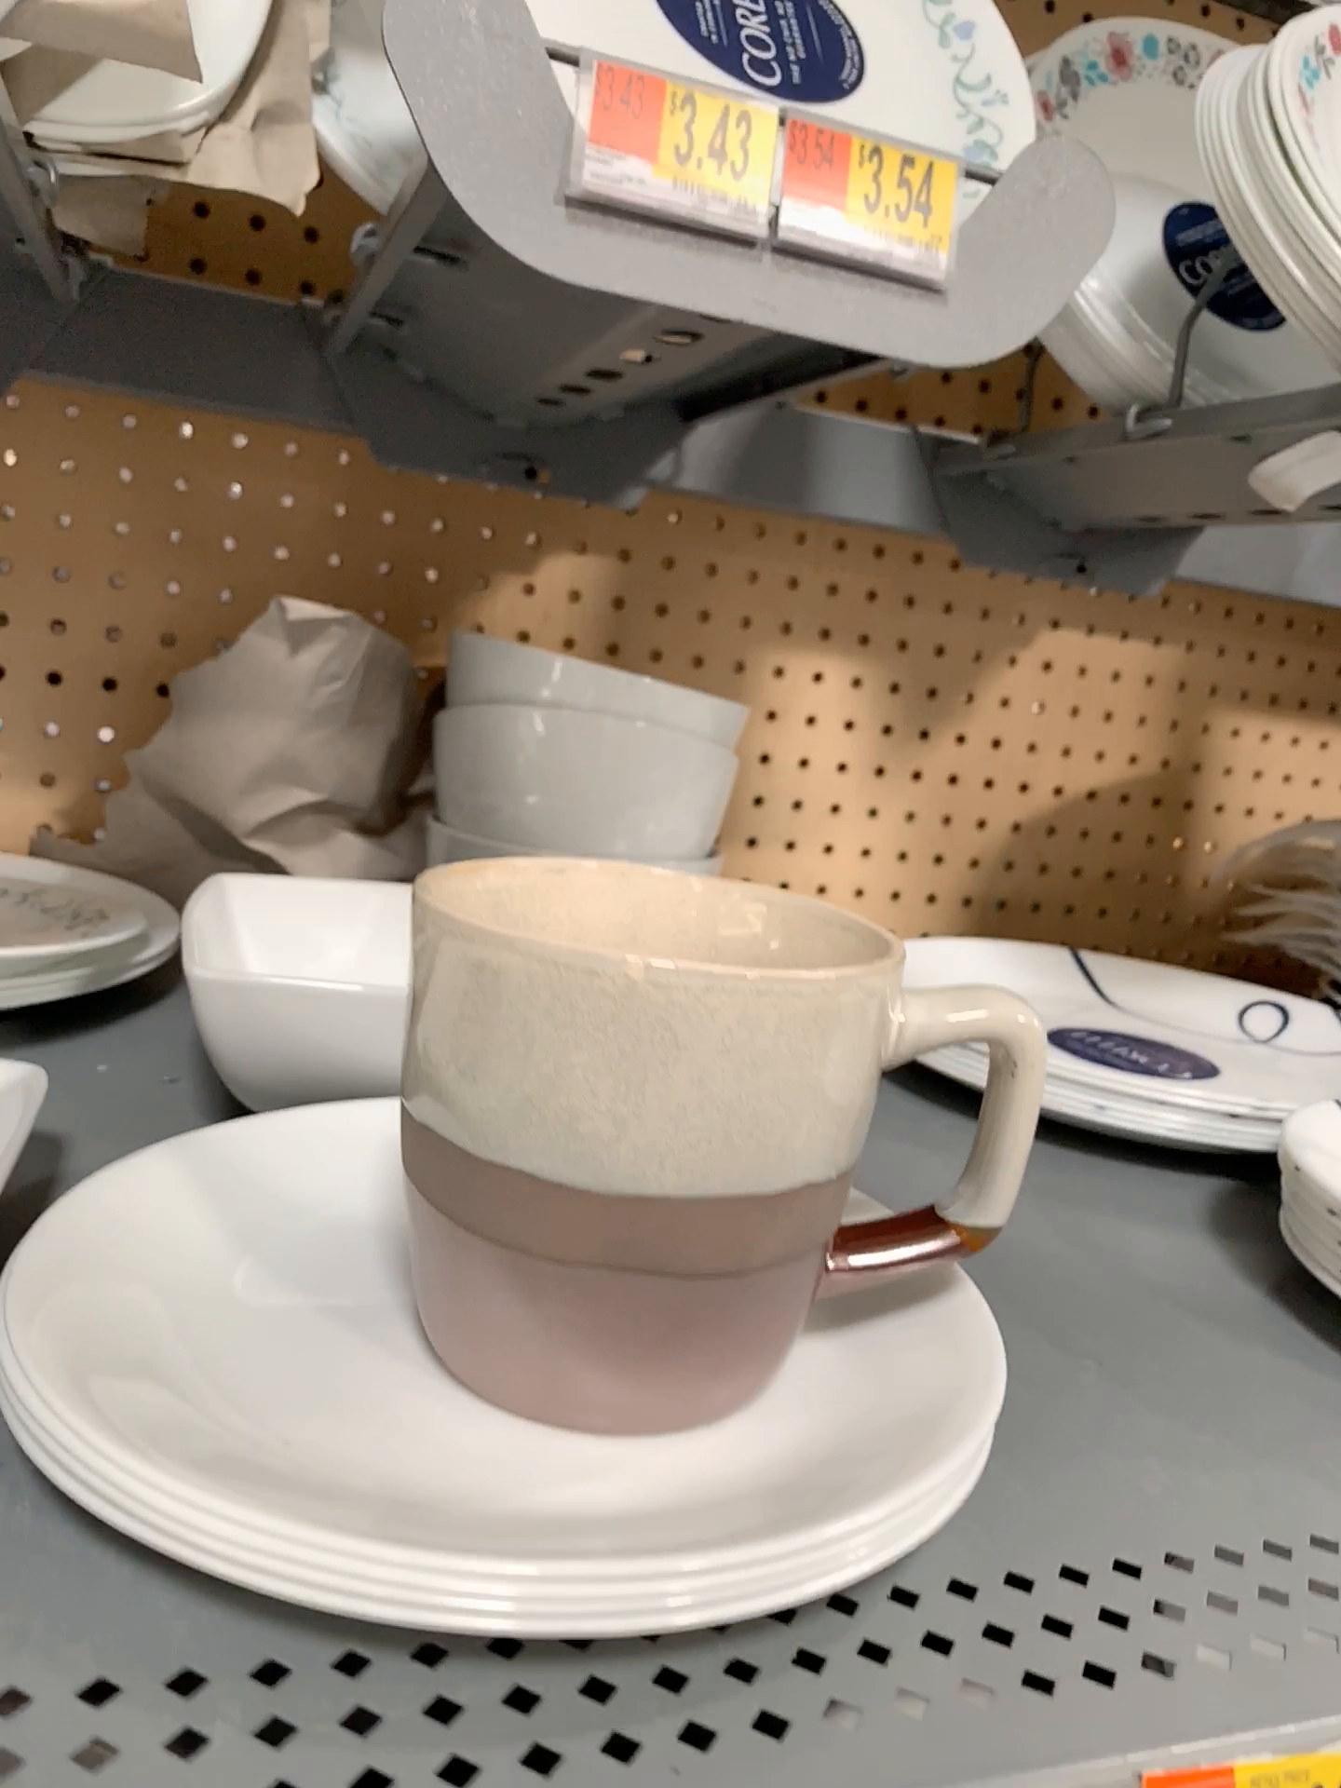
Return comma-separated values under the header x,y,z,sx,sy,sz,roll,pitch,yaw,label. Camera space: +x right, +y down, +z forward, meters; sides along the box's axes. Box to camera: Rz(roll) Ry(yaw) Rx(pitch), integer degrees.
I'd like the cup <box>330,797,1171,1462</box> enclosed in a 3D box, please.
x,y,z,sx,sy,sz,roll,pitch,yaw,label
0.006,0.041,0.295,0.138,0.096,0.107,5,11,-18,cup
